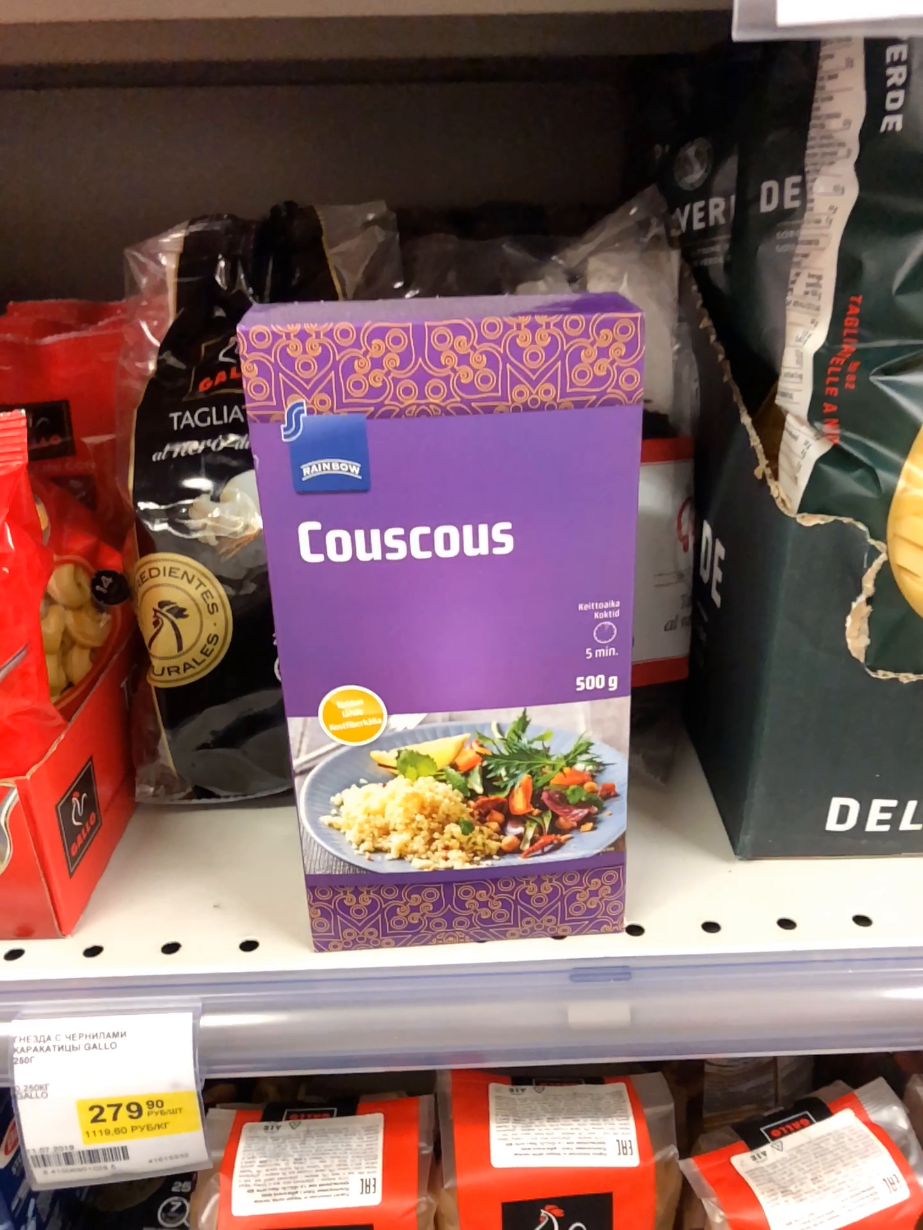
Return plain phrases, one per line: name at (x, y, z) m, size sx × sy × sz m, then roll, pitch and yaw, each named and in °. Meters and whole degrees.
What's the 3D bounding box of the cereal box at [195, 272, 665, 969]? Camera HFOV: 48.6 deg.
cereal box at (-0.006, 0.008, 0.298) m, size 0.110 × 0.199 × 0.040 m, roll -3°, pitch 24°, yaw -3°
